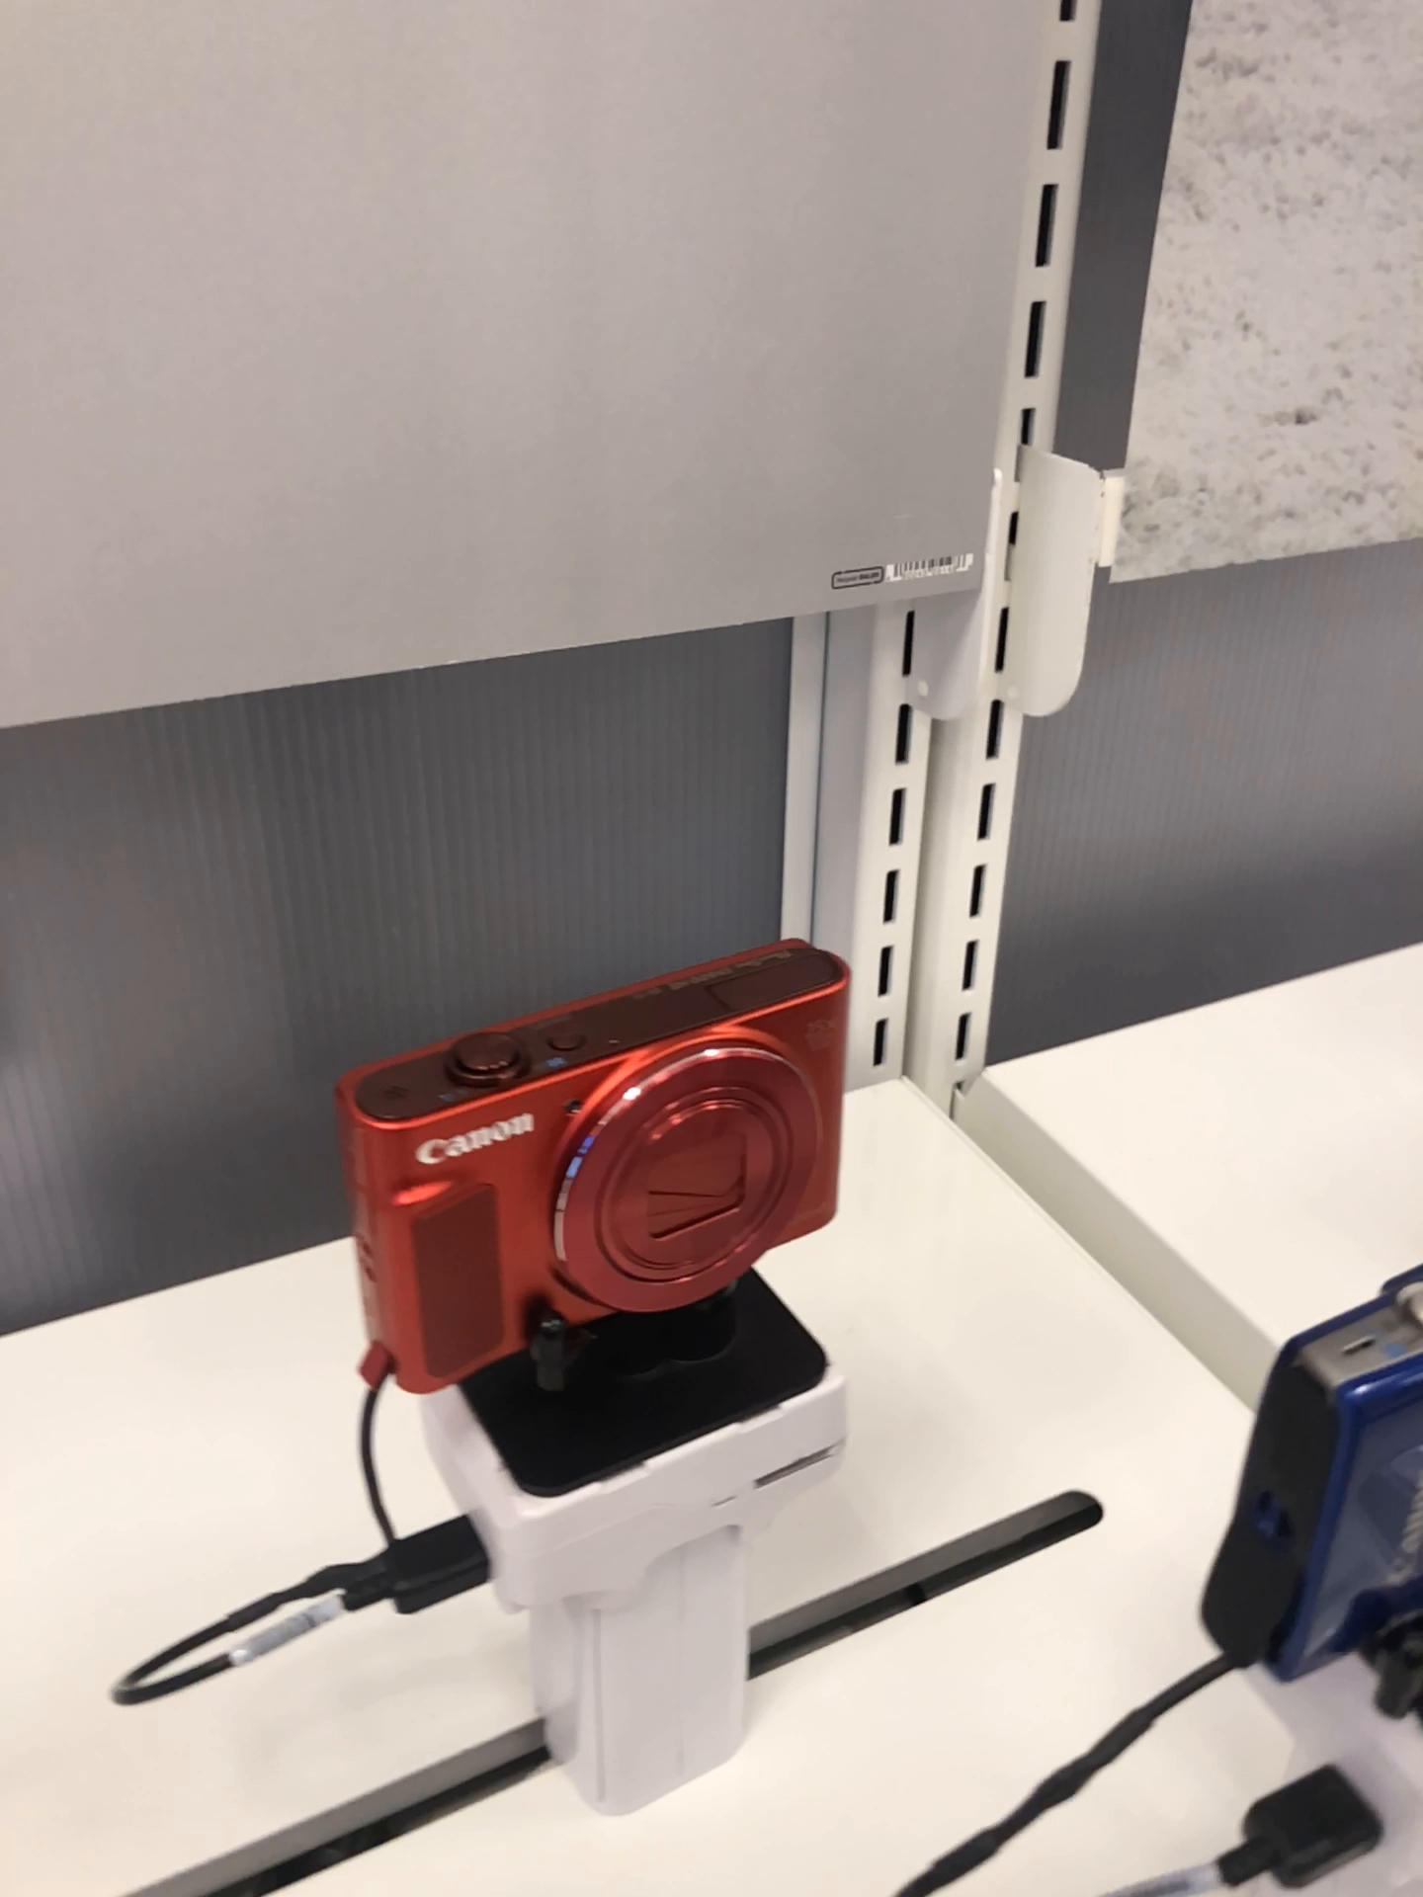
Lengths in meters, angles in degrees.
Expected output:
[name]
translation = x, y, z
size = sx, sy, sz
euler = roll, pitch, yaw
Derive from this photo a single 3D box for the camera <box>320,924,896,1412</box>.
[camera]
translation = -0.016, 0.036, 0.281
size = 0.096, 0.053, 0.028
euler = -16, 33, -27
